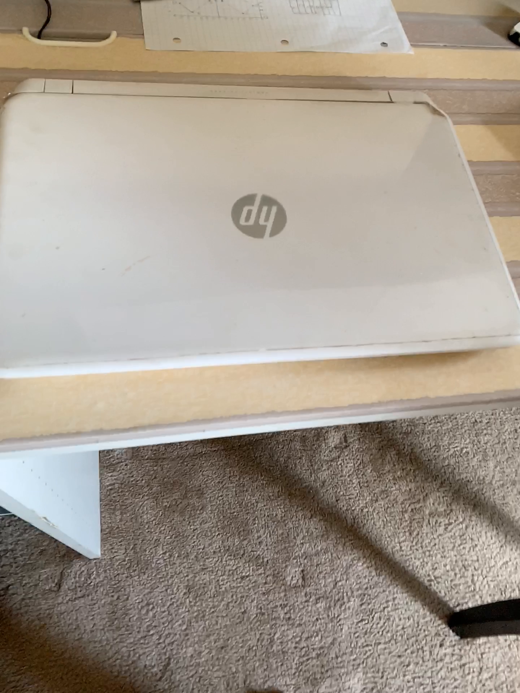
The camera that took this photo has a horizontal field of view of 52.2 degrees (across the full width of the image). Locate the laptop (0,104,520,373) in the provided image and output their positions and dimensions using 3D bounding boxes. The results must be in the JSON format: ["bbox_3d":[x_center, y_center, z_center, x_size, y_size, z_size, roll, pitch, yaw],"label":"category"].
[{"bbox_3d":[-0.002,-0.099,0.399,0.364,0.002,0.229,-3,65,-9],"label":"laptop"}]
